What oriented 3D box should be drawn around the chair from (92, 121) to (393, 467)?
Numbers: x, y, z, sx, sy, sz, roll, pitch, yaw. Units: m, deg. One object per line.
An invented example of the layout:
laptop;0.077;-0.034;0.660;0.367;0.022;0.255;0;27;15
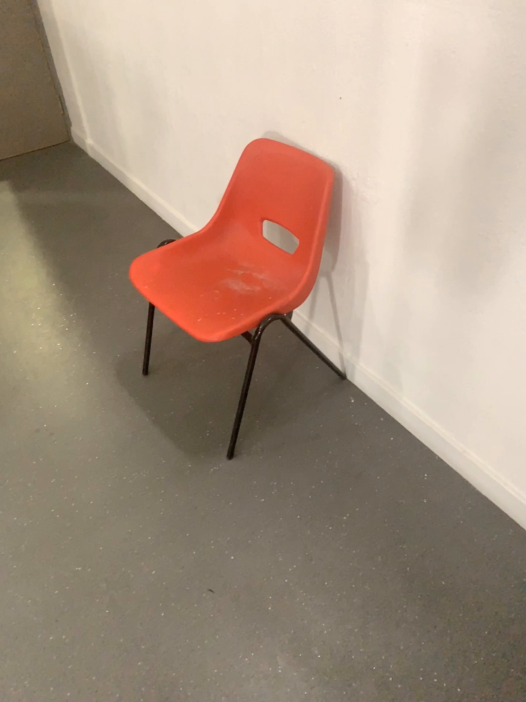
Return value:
chair;-0.040;-0.185;1.621;0.592;0.713;0.513;-32;50;-26
